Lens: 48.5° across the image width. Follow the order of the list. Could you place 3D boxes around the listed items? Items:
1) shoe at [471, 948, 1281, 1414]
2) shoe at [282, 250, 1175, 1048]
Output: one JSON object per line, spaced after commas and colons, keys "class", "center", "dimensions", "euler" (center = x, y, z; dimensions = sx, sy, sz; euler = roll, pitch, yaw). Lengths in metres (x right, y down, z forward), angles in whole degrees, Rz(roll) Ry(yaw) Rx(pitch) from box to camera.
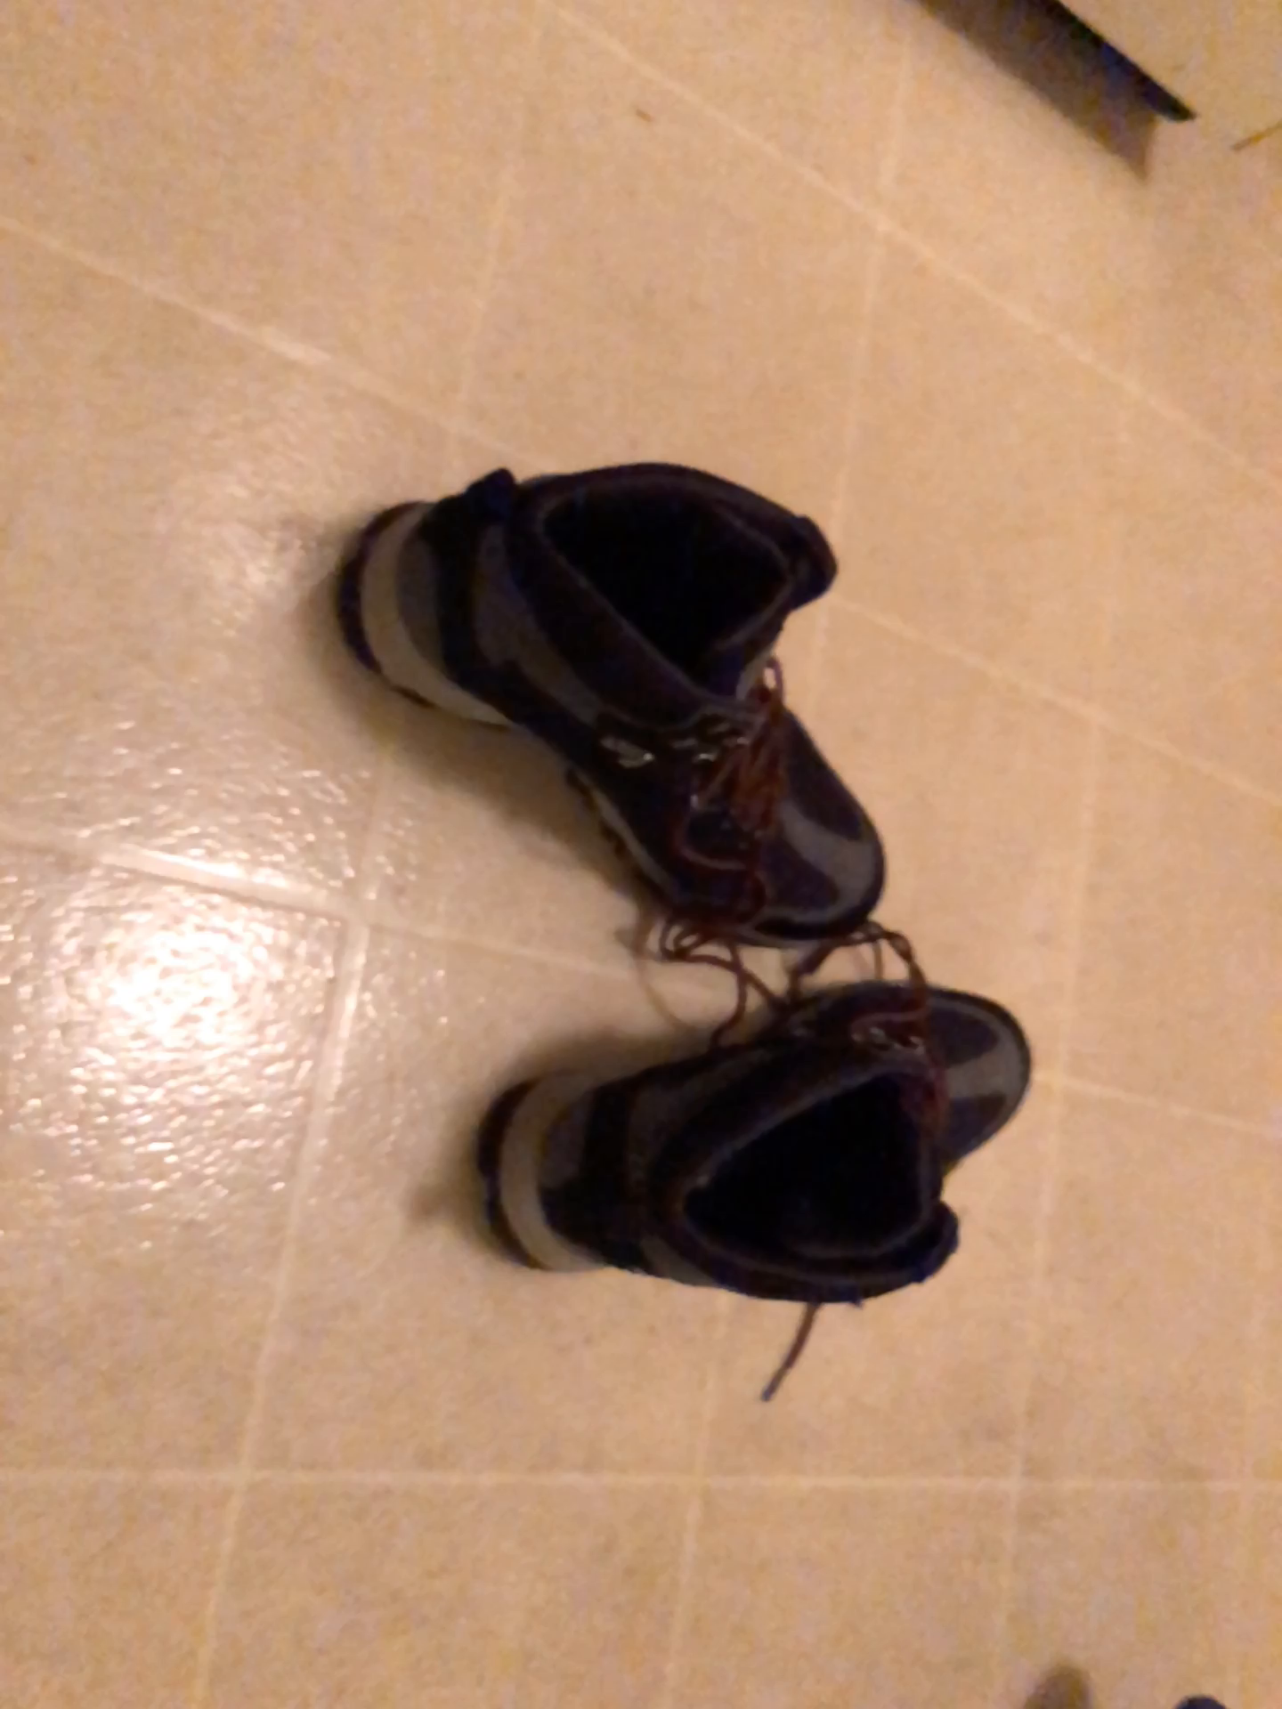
{"class": "shoe", "center": [0.109, 0.121, 0.637], "dimensions": [0.300, 0.196, 0.116], "euler": [-6, 89, -35]}
{"class": "shoe", "center": [0.040, -0.057, 0.606], "dimensions": [0.309, 0.196, 0.126], "euler": [40, 65, -25]}
